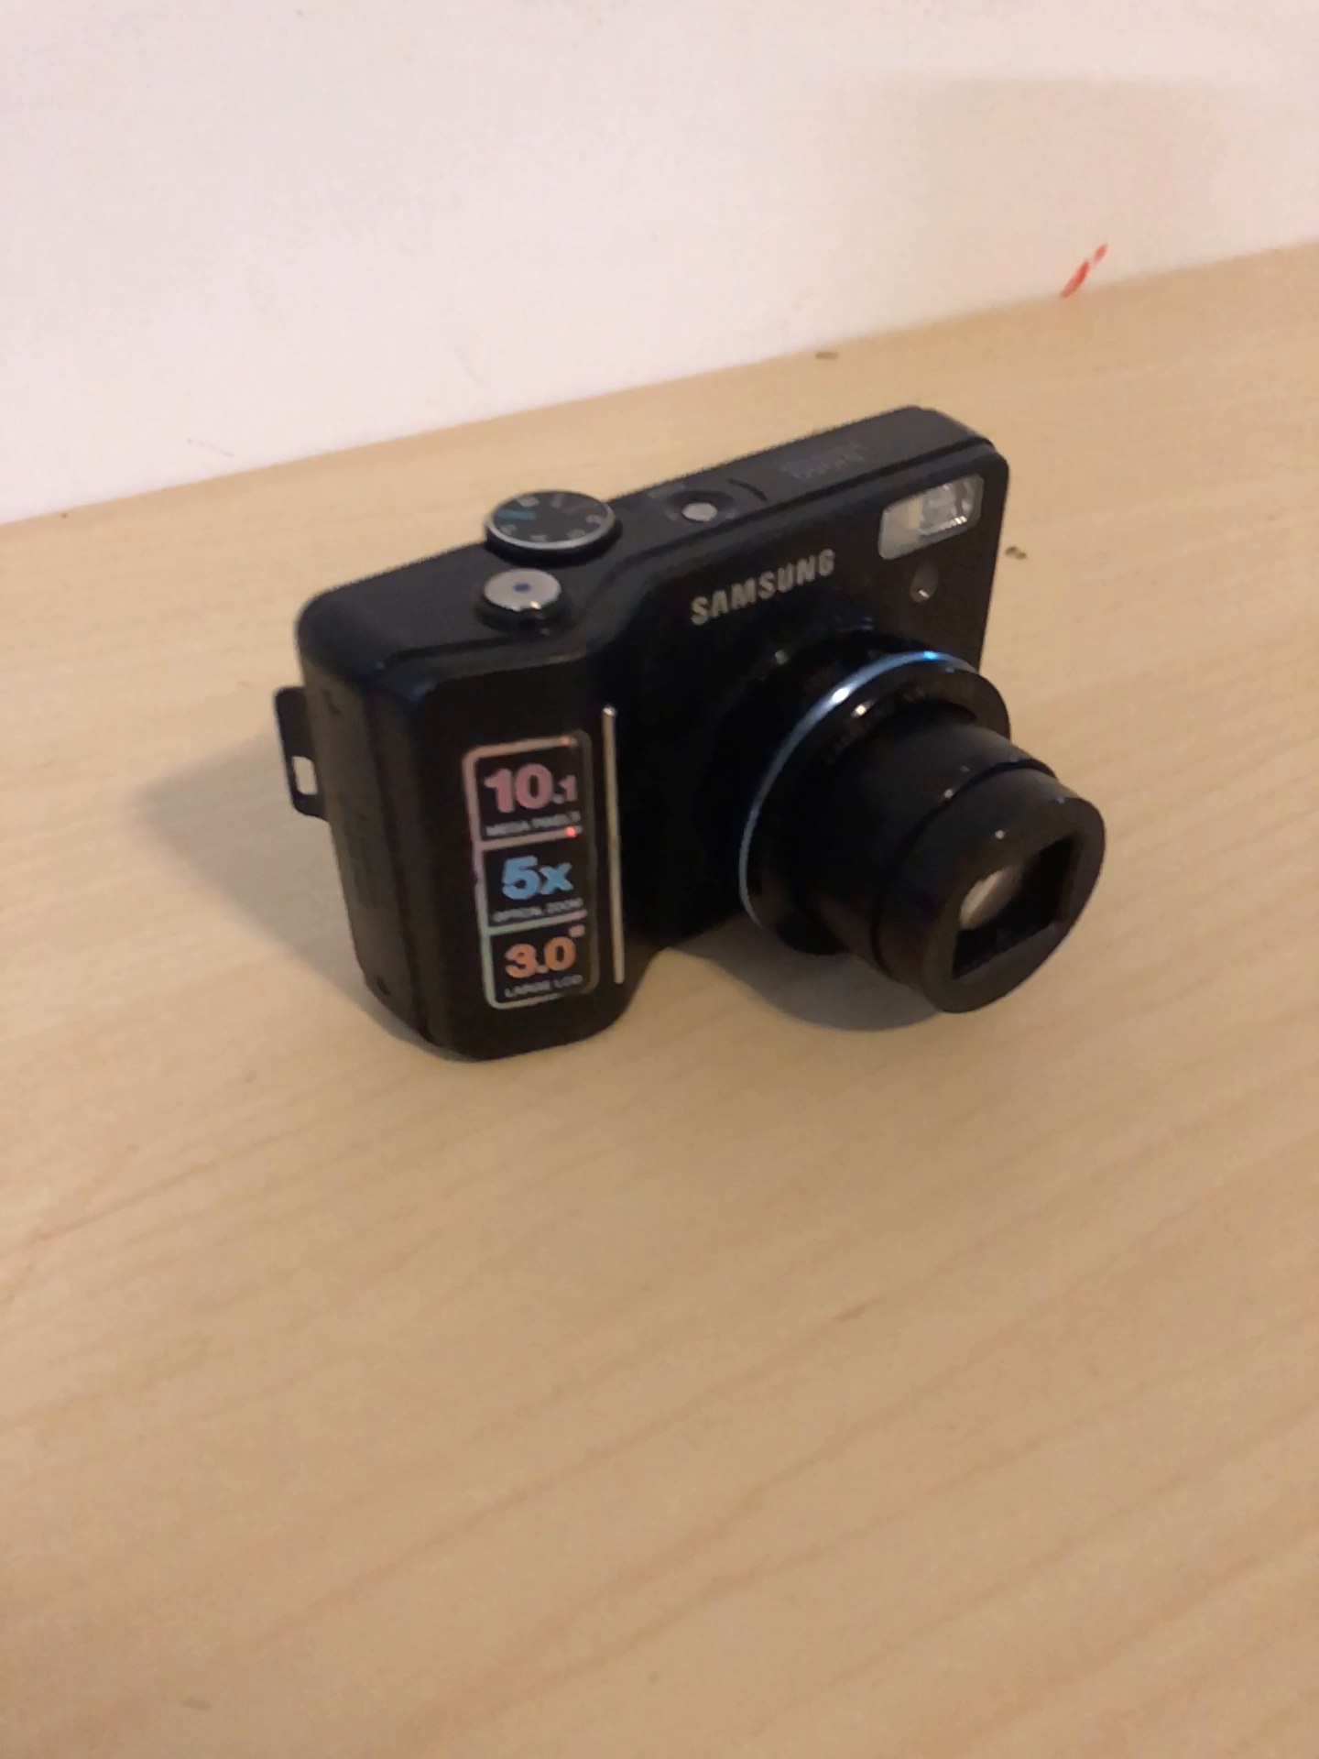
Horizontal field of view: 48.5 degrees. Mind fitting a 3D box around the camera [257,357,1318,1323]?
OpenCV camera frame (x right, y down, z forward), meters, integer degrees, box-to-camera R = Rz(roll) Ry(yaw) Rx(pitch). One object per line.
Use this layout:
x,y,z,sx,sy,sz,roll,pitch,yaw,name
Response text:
0.017,-0.013,0.198,0.110,0.070,0.070,-24,47,-25,camera
